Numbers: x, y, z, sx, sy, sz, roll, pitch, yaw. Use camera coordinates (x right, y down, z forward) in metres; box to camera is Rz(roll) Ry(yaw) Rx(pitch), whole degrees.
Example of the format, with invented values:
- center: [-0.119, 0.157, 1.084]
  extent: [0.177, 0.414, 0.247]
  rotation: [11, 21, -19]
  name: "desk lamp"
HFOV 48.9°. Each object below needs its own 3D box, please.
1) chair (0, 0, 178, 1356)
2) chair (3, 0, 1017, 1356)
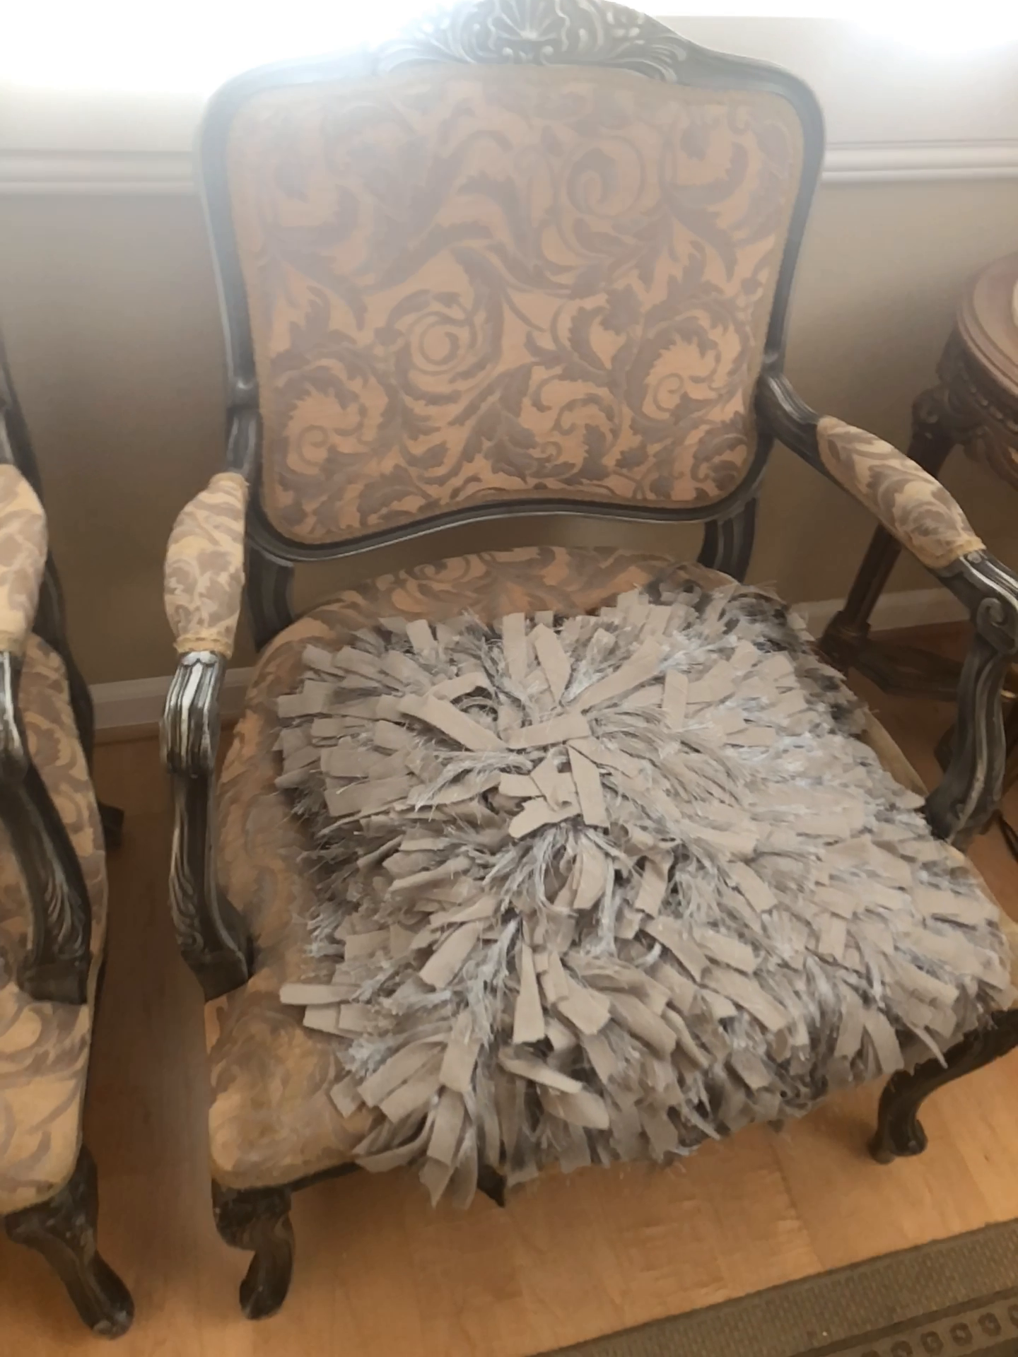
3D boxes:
- center: [-0.674, 0.056, 0.807]
  extent: [0.691, 0.952, 0.605]
  rotation: [-2, 46, -9]
  name: "chair"
- center: [0.057, -0.038, 1.005]
  extent: [0.741, 0.852, 0.785]
  rotation: [-8, 48, -14]
  name: "chair"
